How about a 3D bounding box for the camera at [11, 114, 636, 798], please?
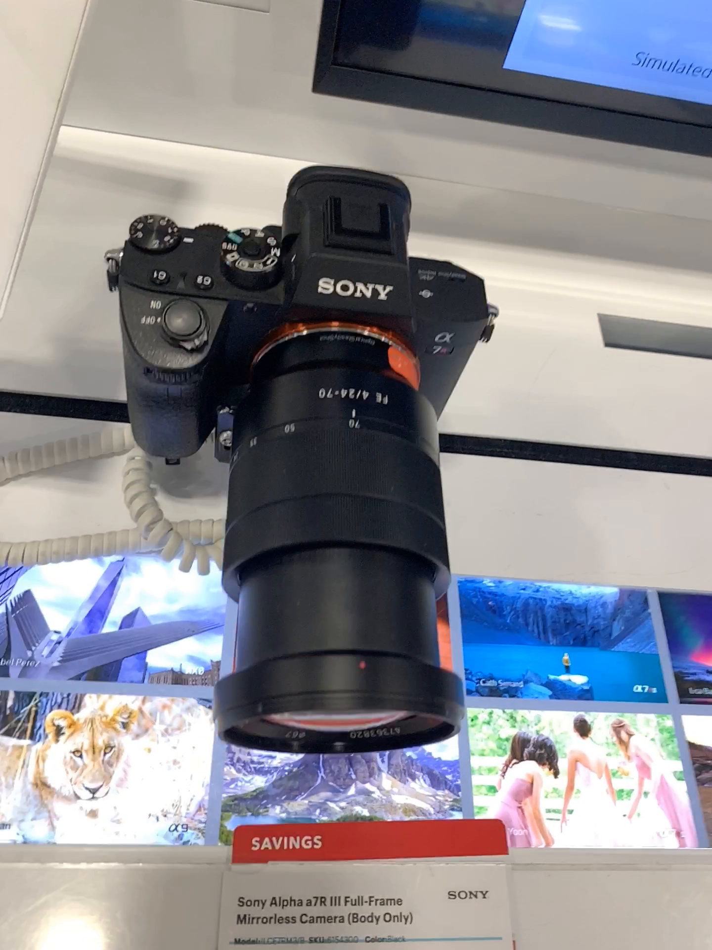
[{"bbox_3d":[-0.014,-0.006,0.243,0.130,0.100,0.193,2,60,-9],"label":"camera"}]
